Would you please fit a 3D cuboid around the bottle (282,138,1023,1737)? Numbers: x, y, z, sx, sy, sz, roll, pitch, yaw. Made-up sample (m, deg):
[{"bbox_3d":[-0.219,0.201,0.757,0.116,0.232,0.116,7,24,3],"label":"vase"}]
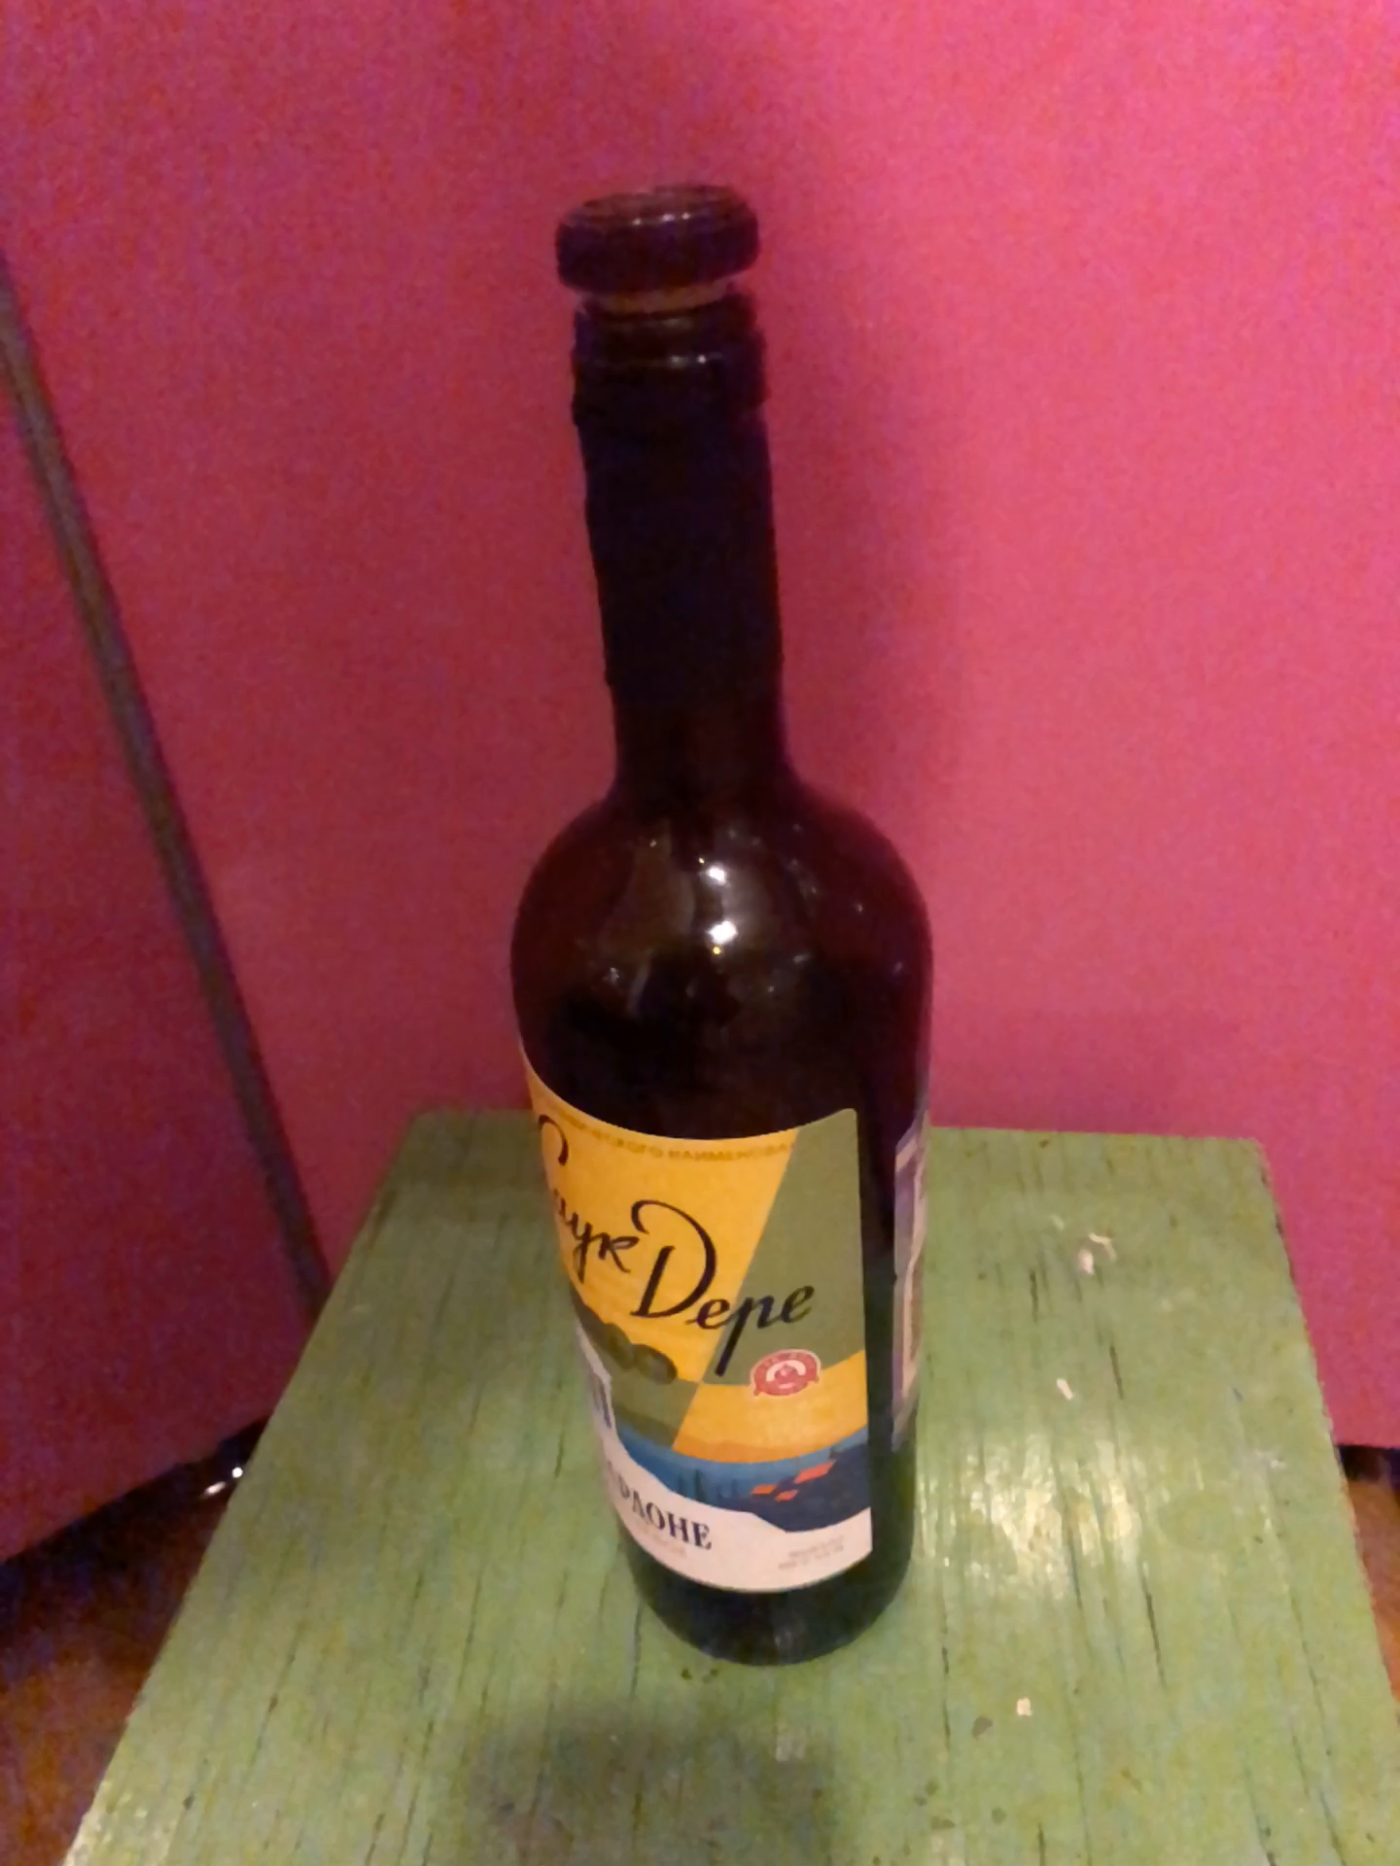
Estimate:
[{"bbox_3d":[0.006,0.023,0.294,0.072,0.301,0.071,-4,35,3],"label":"bottle"}]
